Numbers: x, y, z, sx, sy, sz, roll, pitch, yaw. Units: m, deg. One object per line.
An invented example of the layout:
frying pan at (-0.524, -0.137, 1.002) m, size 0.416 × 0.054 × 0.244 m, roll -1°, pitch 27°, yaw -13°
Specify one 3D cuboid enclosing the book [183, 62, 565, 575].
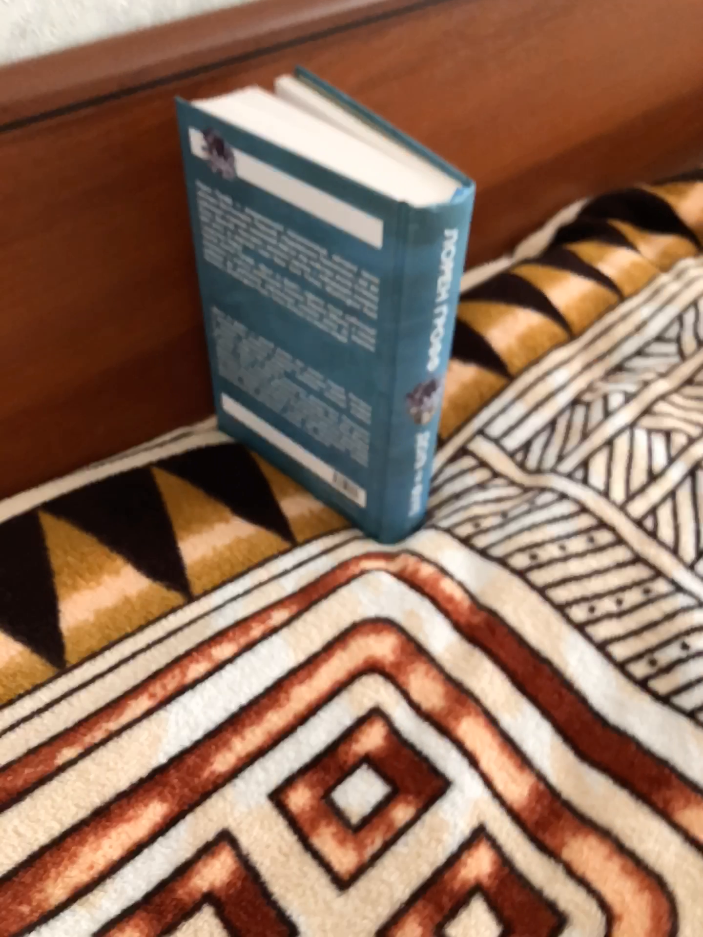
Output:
book at (0.002, -0.075, 0.409) m, size 0.078 × 0.199 × 0.161 m, roll -31°, pitch 53°, yaw -28°
